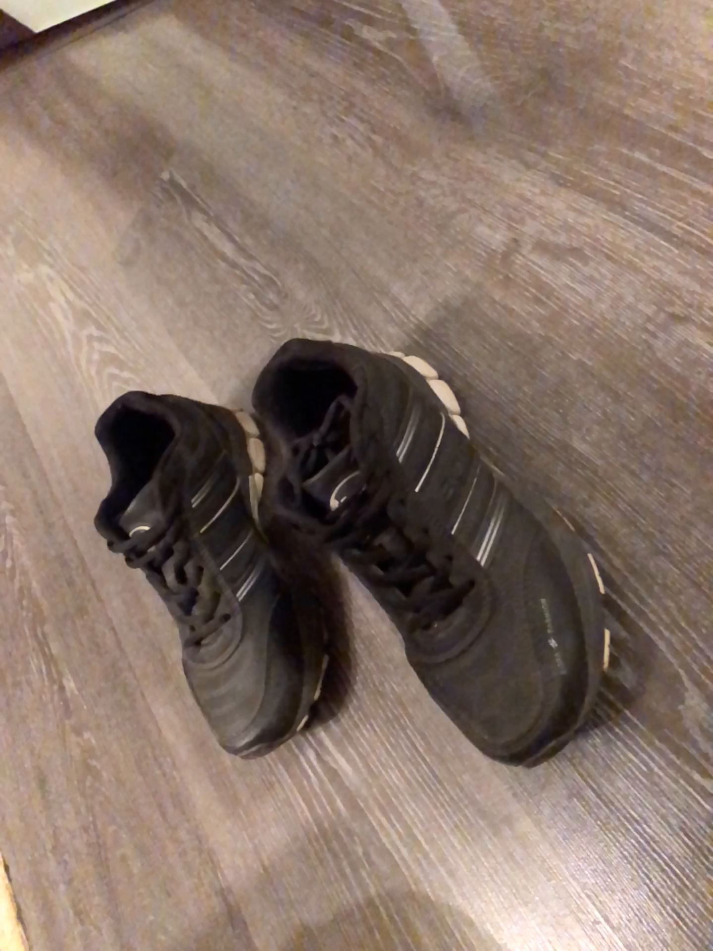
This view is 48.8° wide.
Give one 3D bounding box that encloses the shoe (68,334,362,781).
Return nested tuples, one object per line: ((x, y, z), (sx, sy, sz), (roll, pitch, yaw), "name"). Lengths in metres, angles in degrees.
((-0.099, 0.047, 0.497), (0.100, 0.090, 0.251), (-38, 55, 25), "shoe")

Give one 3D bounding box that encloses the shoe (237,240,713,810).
((0.048, 0.016, 0.407), (0.110, 0.099, 0.261), (-43, 53, 22), "shoe")
